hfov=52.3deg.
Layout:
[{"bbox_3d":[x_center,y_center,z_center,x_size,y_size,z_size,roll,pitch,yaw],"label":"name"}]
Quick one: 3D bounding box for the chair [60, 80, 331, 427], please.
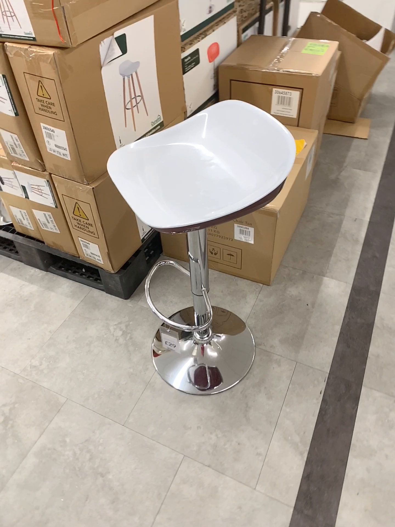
[{"bbox_3d":[-0.007,-0.001,1.156,0.435,0.793,0.438,-24,48,-19],"label":"chair"}]
